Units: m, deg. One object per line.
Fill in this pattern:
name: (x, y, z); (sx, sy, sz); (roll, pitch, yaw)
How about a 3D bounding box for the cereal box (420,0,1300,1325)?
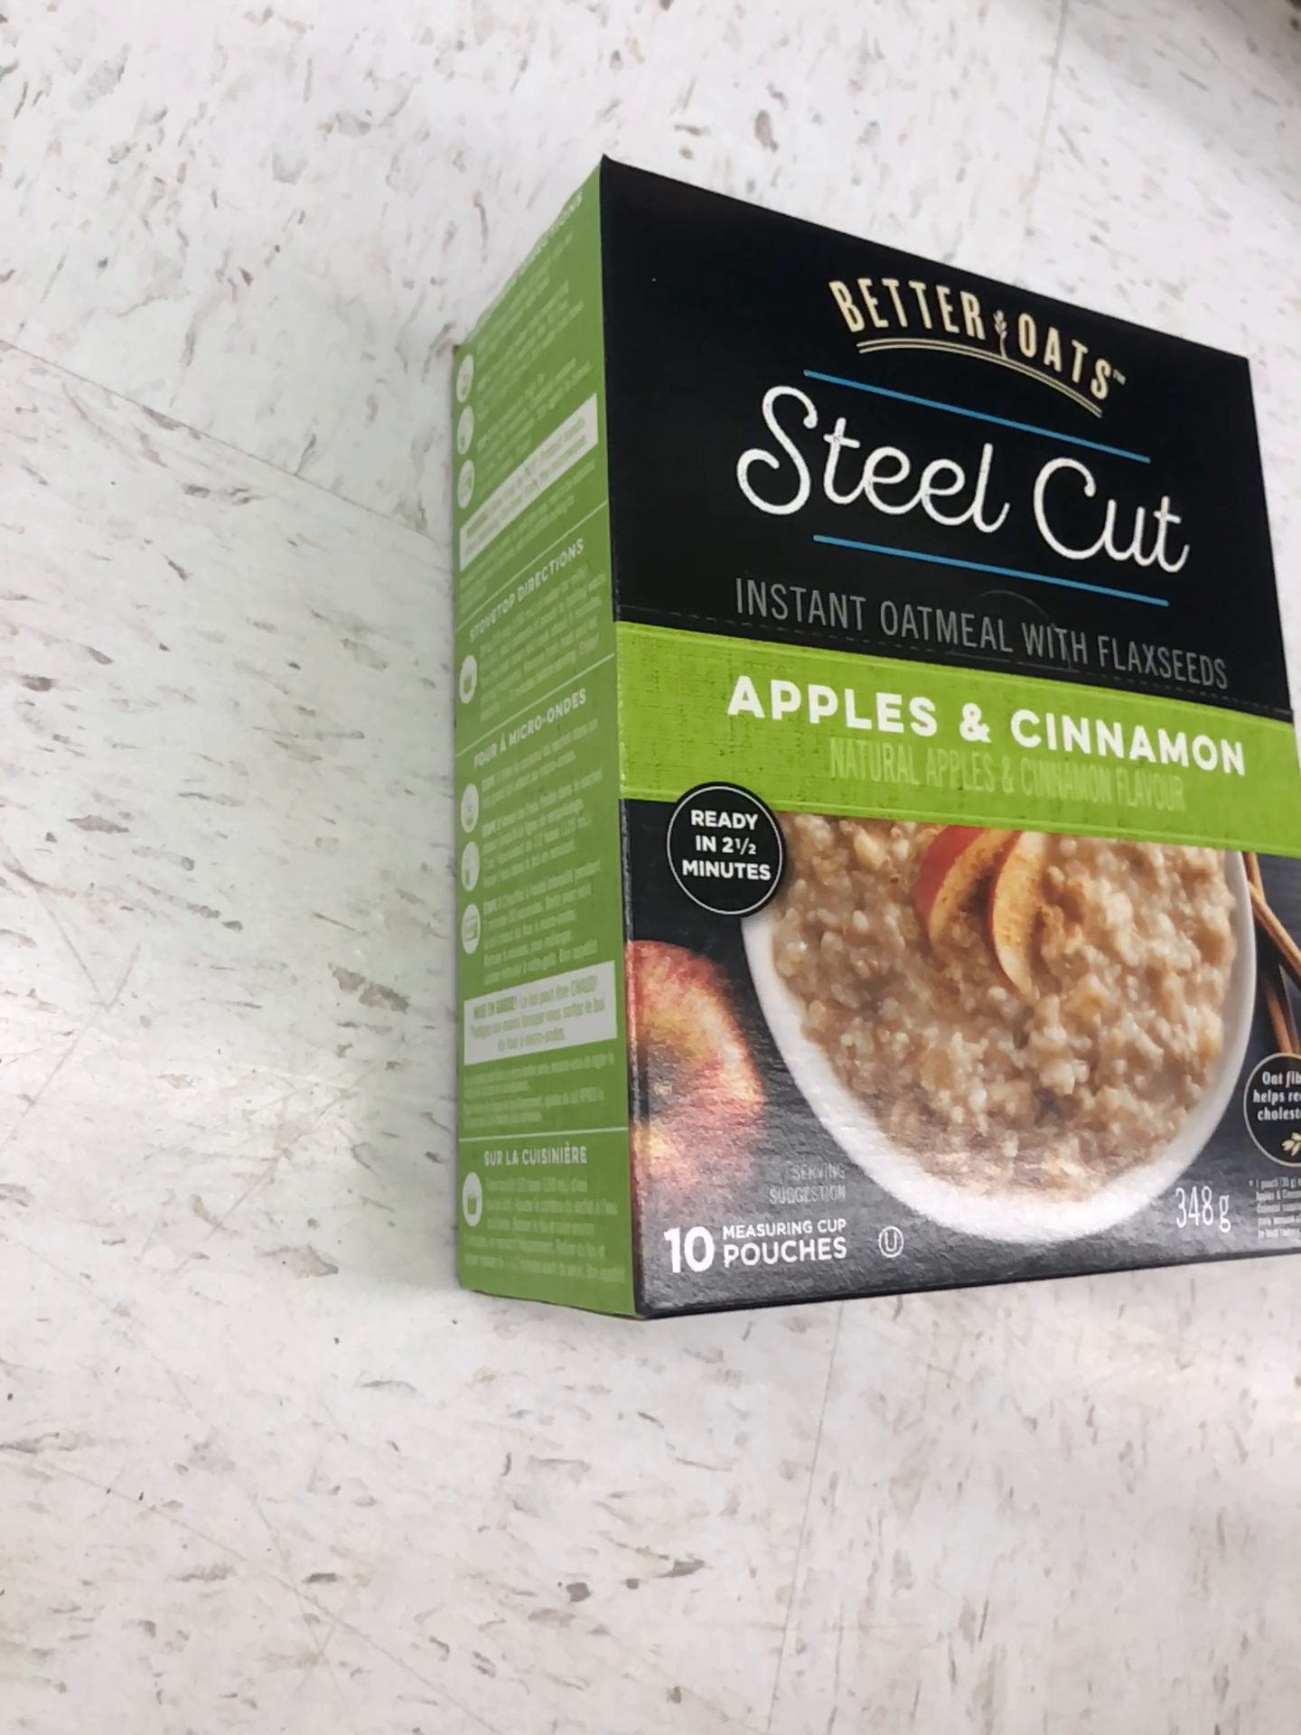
cereal box: (0.046, -0.028, 0.277); (0.161, 0.070, 0.200); (4, 77, -29)
